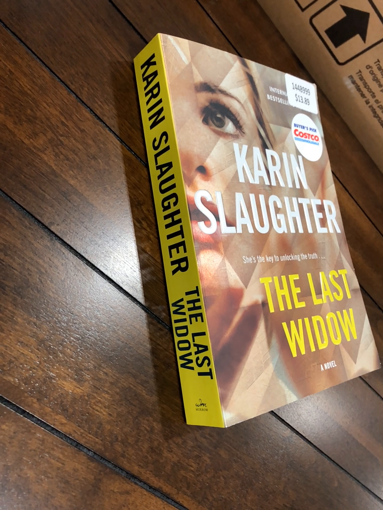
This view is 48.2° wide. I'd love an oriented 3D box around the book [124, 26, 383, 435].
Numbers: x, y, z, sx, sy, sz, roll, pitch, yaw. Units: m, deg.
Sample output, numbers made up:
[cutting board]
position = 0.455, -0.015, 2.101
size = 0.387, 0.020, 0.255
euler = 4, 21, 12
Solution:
[book]
position = 0.047, -0.020, 0.296
size = 0.155, 0.042, 0.230
euler = -2, 79, -37
